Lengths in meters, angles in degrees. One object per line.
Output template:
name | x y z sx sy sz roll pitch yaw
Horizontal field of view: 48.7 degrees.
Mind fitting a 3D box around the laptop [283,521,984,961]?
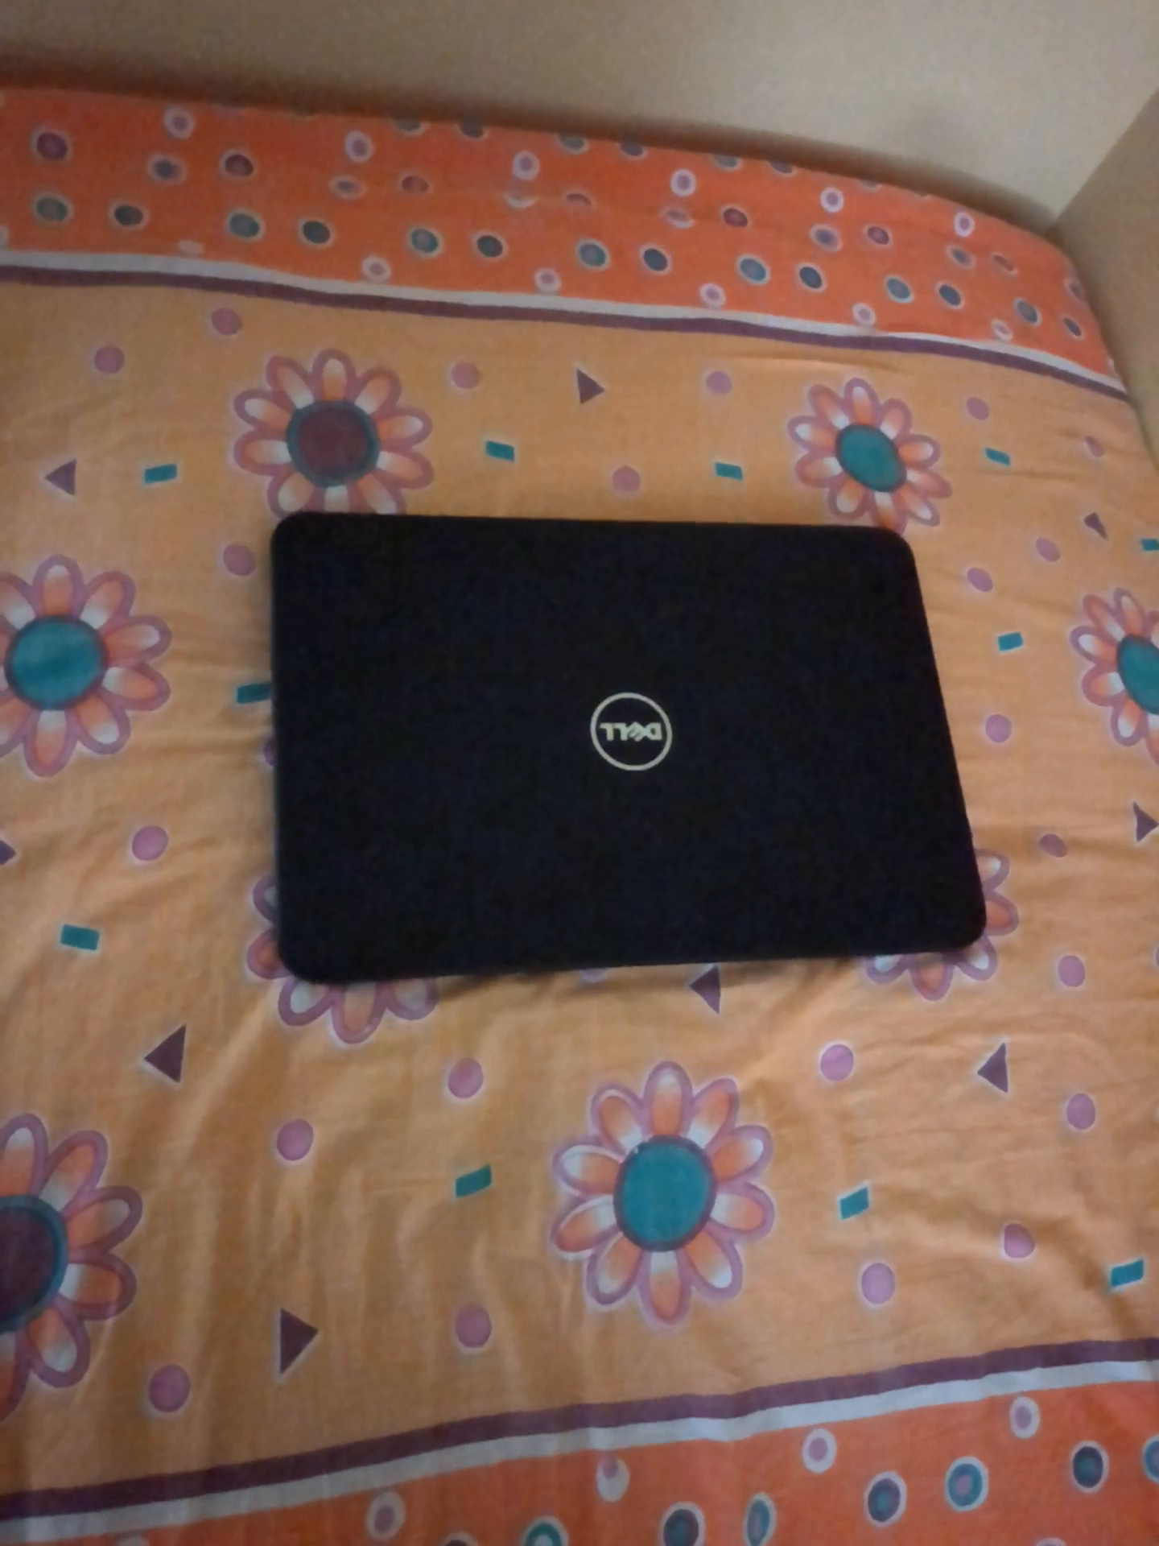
laptop | 0.030 -0.025 0.685 0.358 0.001 0.236 -1 72 -13
